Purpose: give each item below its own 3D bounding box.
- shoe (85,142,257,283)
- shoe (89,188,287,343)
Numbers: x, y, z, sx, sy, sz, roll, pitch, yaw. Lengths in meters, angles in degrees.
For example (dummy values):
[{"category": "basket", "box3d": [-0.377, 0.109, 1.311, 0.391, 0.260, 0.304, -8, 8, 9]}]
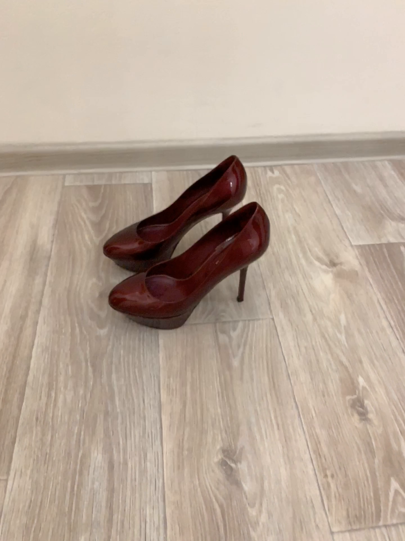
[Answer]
[{"category": "shoe", "box3d": [-0.045, -0.082, 0.602, 0.210, 0.149, 0.087, -10, 48, -12]}, {"category": "shoe", "box3d": [-0.021, -0.005, 0.527, 0.210, 0.149, 0.087, -9, 48, -11]}]
